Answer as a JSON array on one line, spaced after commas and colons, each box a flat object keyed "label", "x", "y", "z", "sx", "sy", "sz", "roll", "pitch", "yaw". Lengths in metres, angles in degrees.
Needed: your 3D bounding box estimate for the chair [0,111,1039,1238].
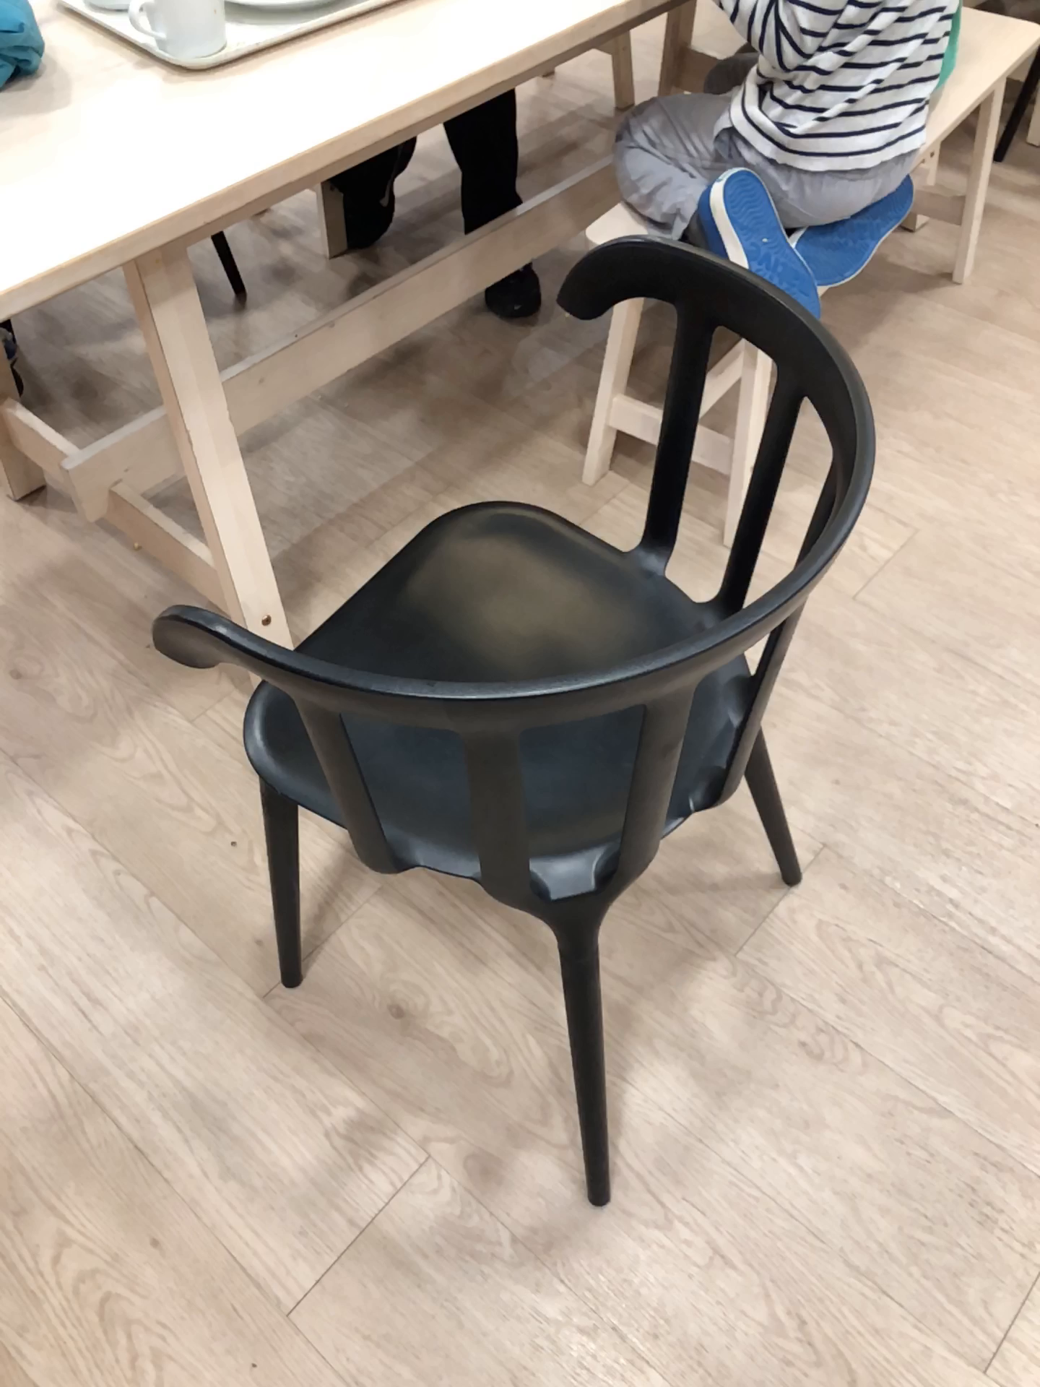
[{"label": "chair", "x": 0.021, "y": -0.003, "z": 1.015, "sx": 0.531, "sy": 0.686, "sz": 0.532, "roll": 28, "pitch": 56, "yaw": 22}]
